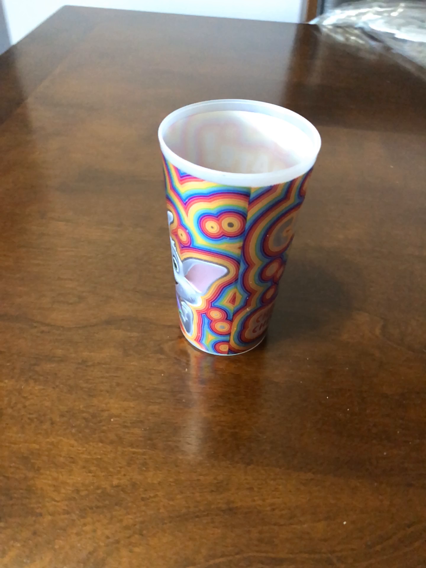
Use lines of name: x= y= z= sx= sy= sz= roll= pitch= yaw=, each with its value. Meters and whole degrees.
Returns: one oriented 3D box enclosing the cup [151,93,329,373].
cup: x=0.011 y=-0.023 z=0.257 sx=0.070 sy=0.130 sz=0.070 roll=2 pitch=43 yaw=-2
